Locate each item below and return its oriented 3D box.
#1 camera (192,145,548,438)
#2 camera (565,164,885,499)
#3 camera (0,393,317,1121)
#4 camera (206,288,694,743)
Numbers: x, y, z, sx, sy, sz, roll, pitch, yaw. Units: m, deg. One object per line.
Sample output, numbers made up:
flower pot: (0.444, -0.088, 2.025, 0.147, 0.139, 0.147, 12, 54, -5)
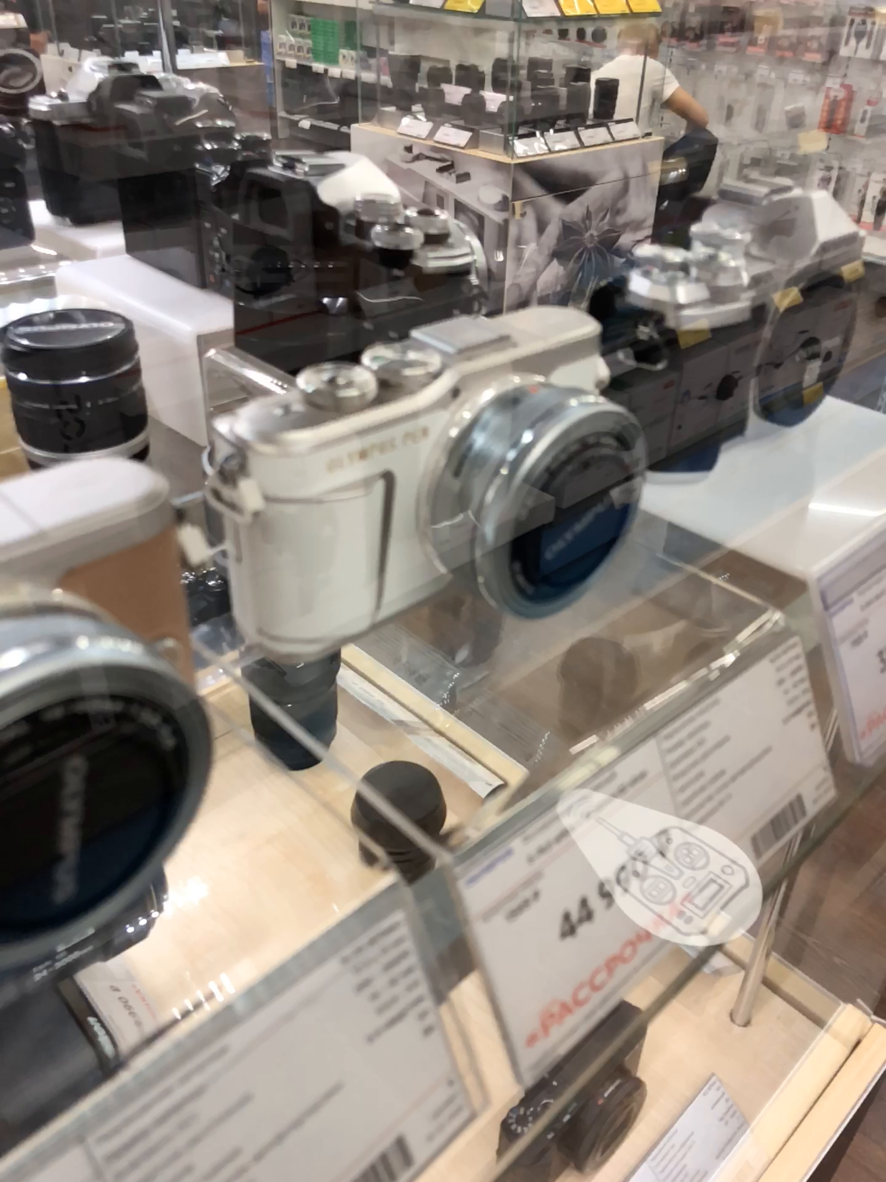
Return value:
camera: (-0.030, -0.120, 0.372, 0.072, 0.072, 0.114, -27, 44, -37)
camera: (0.100, -0.089, 0.314, 0.053, 0.072, 0.114, 30, 42, 35)
camera: (-0.077, 0.020, 0.169, 0.061, 0.072, 0.088, 29, 42, 34)
camera: (0.006, -0.027, 0.252, 0.053, 0.070, 0.115, 30, 42, 35)
